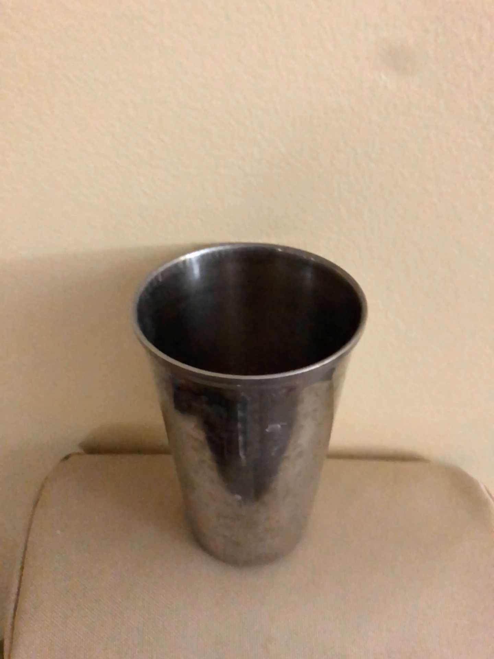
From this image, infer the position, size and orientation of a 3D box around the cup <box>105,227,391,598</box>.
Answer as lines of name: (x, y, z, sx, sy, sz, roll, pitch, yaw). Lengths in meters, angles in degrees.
cup: (0.000, 0.031, 0.205, 0.074, 0.113, 0.073, 1, 35, -1)
